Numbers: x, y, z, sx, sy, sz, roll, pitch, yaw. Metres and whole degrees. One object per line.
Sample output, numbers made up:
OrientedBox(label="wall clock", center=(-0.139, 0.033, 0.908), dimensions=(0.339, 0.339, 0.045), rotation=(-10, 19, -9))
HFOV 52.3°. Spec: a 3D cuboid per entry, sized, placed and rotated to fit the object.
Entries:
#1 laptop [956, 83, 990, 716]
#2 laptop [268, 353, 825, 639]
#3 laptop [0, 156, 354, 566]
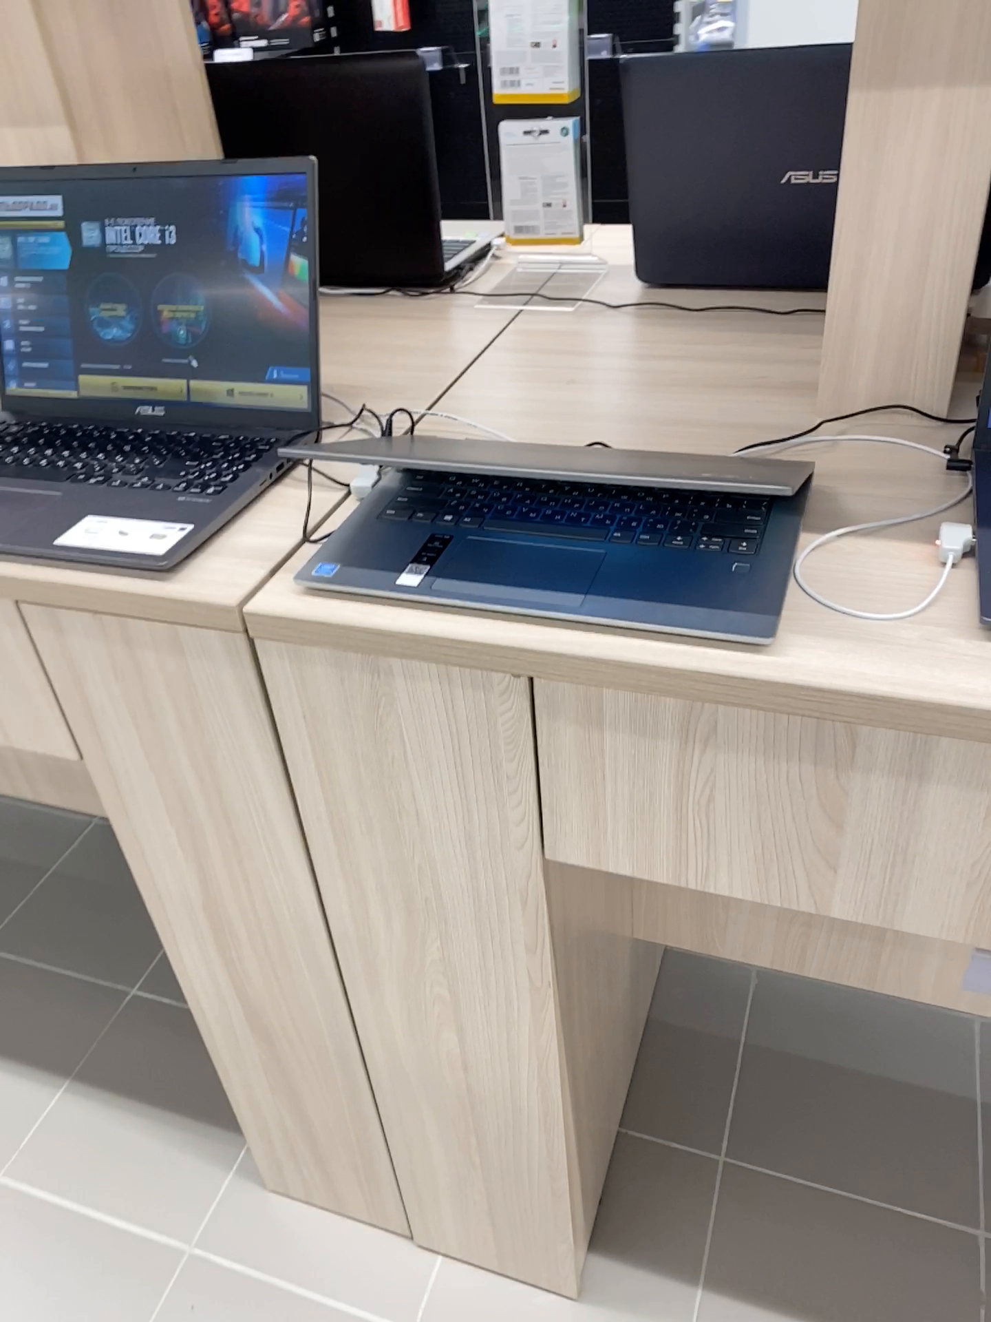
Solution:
OrientedBox(label="laptop", center=(0.508, -0.177, 0.582), dimensions=(0.390, 0.215, 0.304), rotation=(7, 38, 16))
OrientedBox(label="laptop", center=(0.045, -0.131, 0.705), dimensions=(0.326, 0.082, 0.219), rotation=(8, 38, 19))
OrientedBox(label="laptop", center=(-0.361, -0.266, 0.833), dimensions=(0.352, 0.212, 0.309), rotation=(8, 37, 19))
